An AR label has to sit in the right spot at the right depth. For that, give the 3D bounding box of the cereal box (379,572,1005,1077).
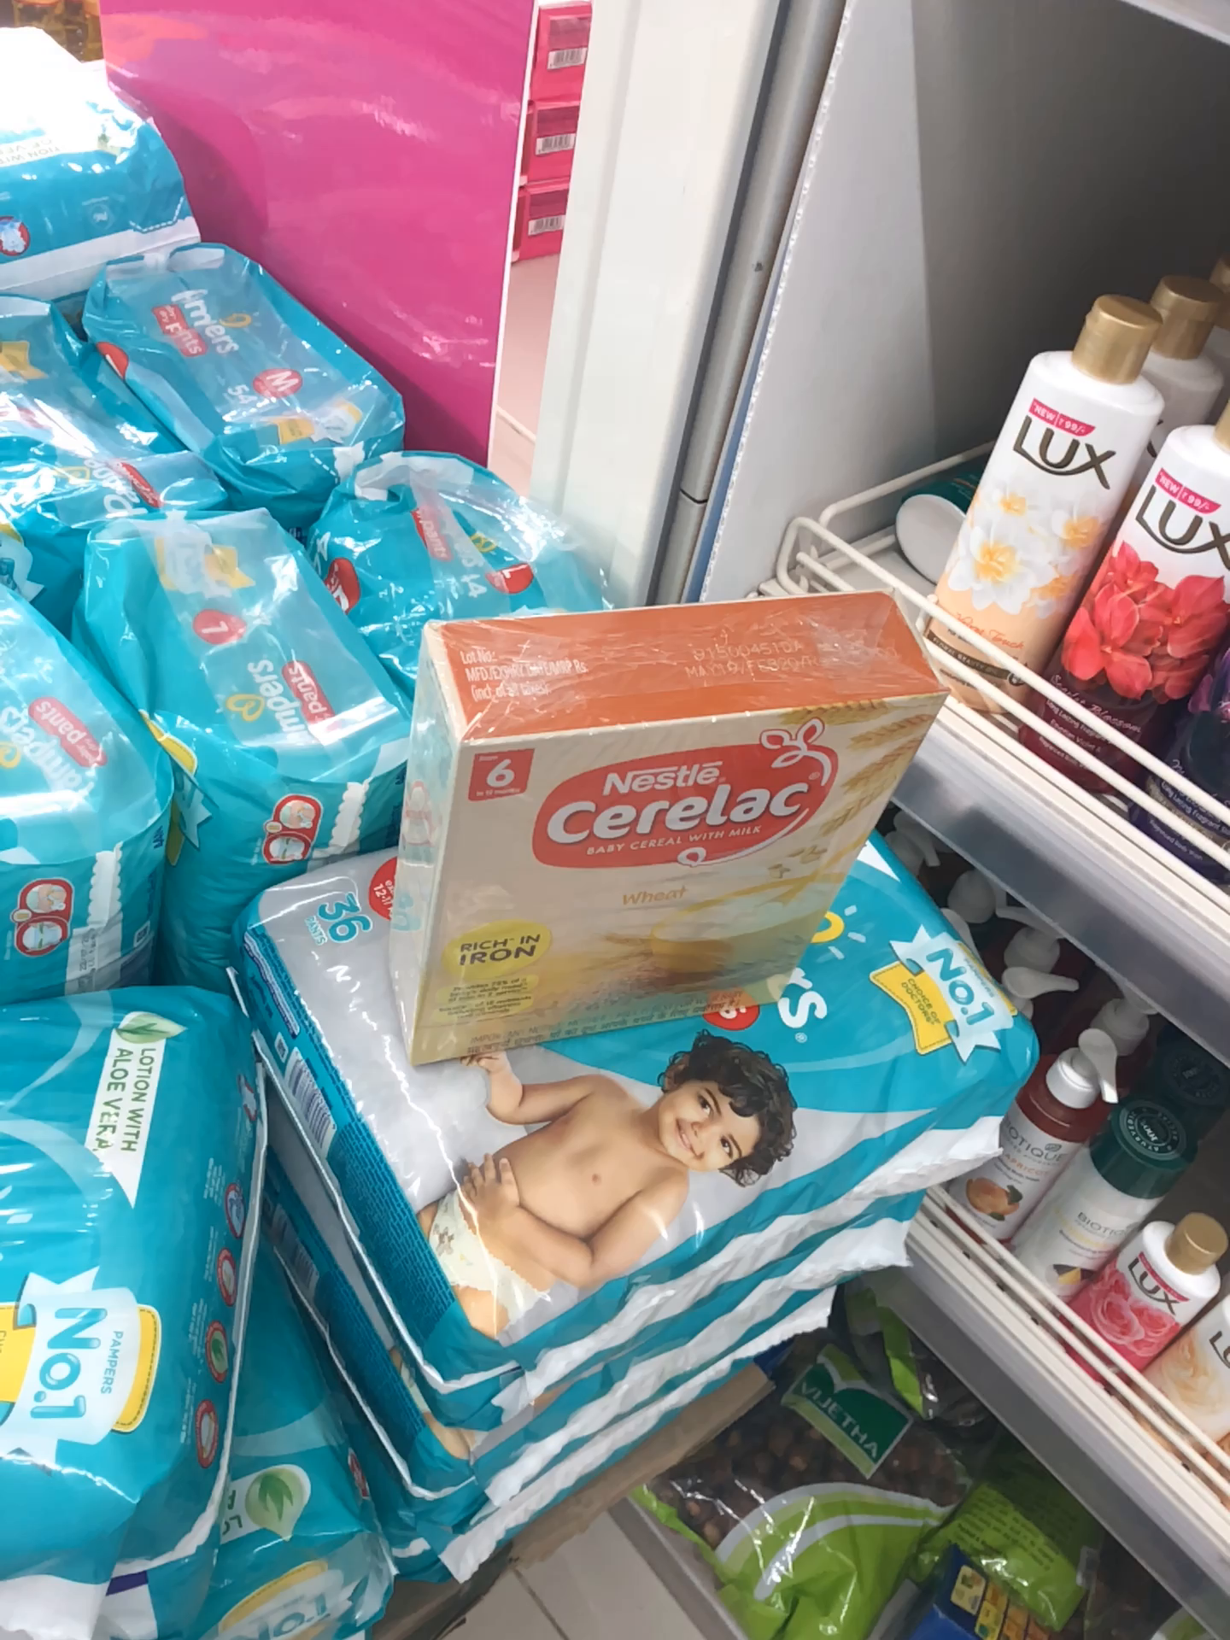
[{"bbox_3d":[0.012,0.007,0.448,0.160,0.179,0.050,-7,55,-19],"label":"cereal box"}]
